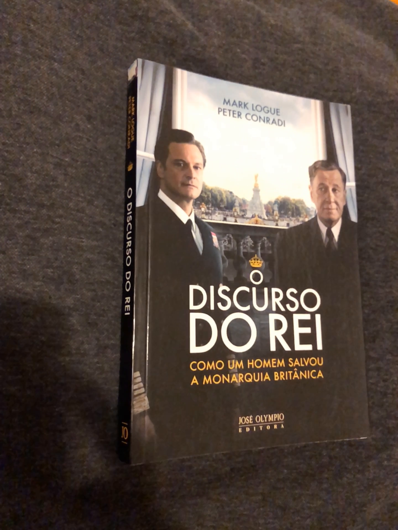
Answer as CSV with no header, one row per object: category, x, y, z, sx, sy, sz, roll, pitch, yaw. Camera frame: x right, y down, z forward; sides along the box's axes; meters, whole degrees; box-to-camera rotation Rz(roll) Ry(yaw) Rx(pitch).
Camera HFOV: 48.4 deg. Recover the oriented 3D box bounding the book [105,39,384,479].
book,0.029,-0.007,0.270,0.160,0.030,0.230,3,79,-21
